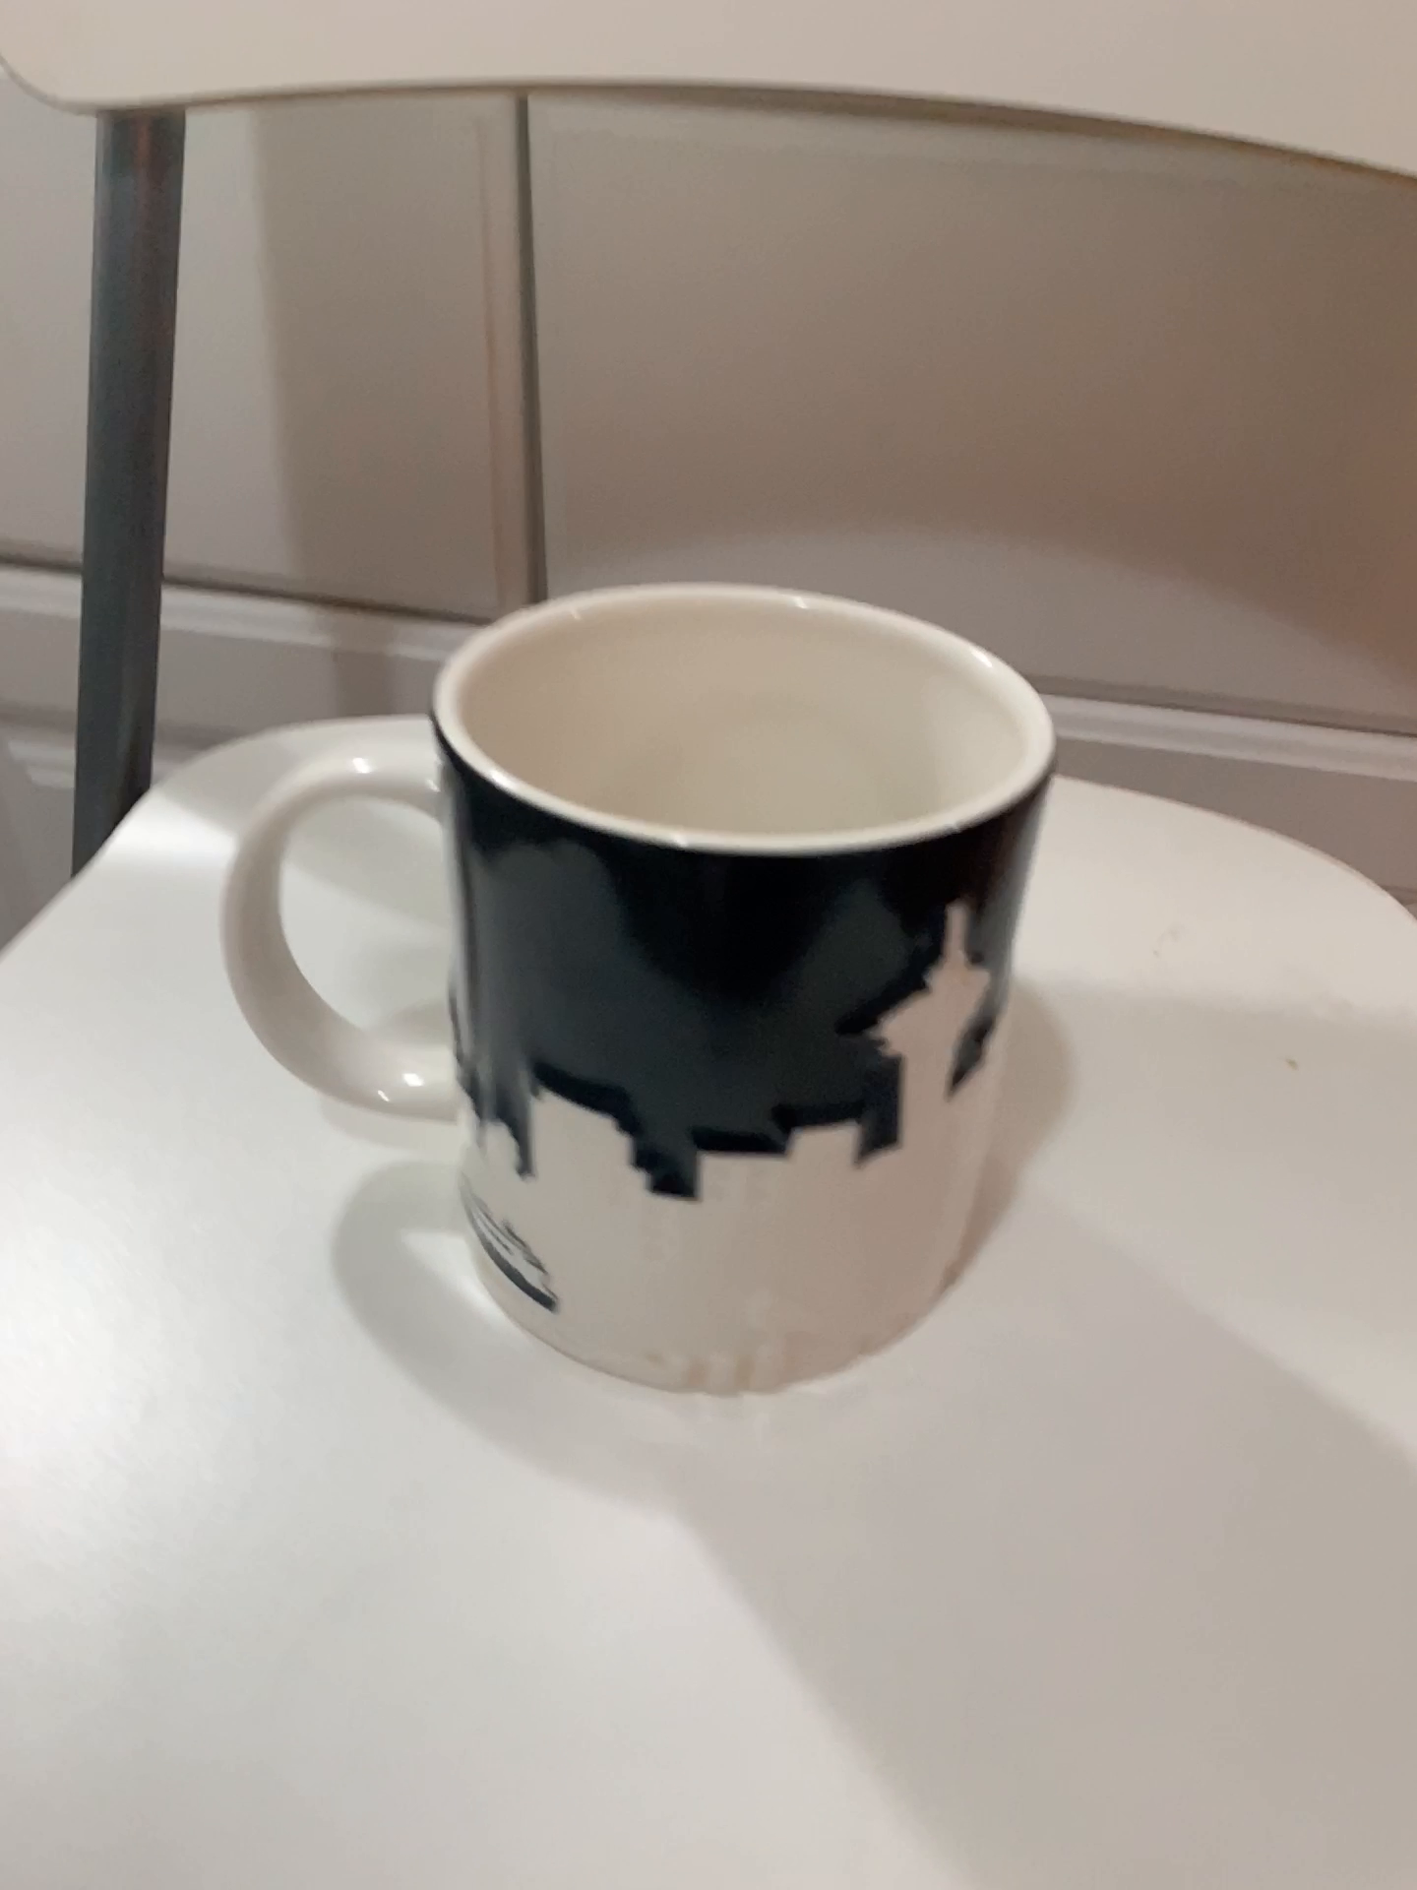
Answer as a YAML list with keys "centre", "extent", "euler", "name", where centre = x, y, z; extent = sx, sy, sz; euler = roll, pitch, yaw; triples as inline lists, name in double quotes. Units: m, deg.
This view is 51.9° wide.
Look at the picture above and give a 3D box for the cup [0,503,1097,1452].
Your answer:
- centre: [-0.015, 0.000, 0.252]
  extent: [0.143, 0.100, 0.105]
  euler: [9, 39, 8]
  name: "cup"
